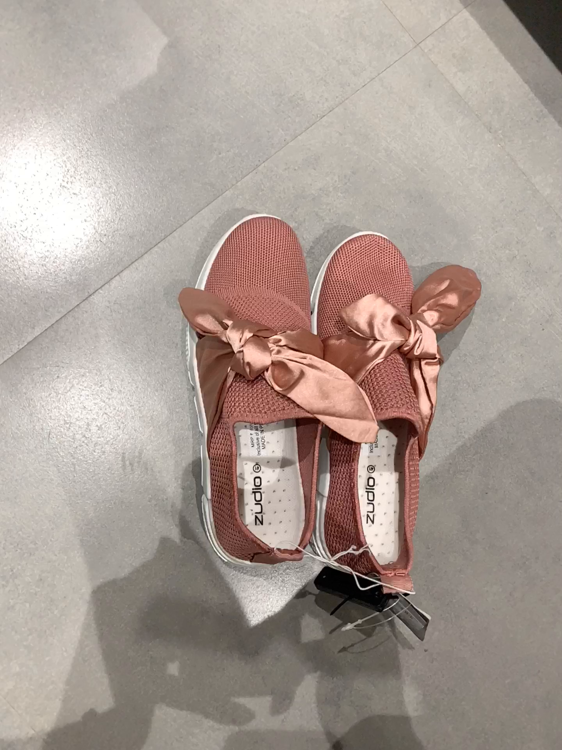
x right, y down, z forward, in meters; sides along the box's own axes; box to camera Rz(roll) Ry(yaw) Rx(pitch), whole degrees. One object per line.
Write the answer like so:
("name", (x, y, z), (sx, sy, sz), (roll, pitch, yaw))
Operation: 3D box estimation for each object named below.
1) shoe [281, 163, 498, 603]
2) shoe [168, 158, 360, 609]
("shoe", (0.068, 0.004, 0.413), (0.110, 0.100, 0.270), (-1, 85, -11))
("shoe", (-0.020, 0.004, 0.403), (0.110, 0.100, 0.270), (-1, 85, -11))
